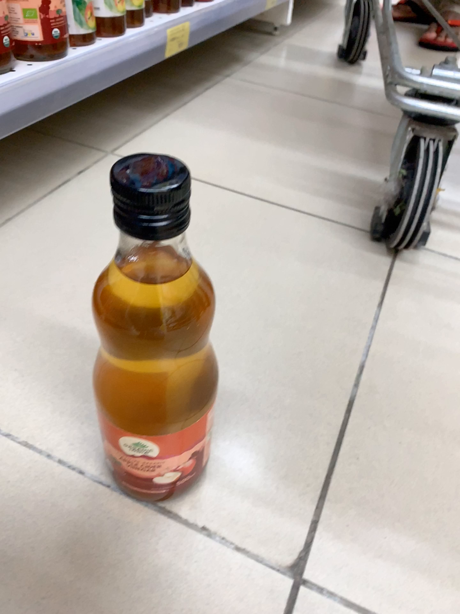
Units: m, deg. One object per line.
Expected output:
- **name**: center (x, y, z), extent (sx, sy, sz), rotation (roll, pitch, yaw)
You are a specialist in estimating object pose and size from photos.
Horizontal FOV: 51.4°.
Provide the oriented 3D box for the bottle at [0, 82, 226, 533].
- **bottle**: center (-0.055, 0.019, 0.232), extent (0.080, 0.209, 0.080), rotation (3, 43, -3)
